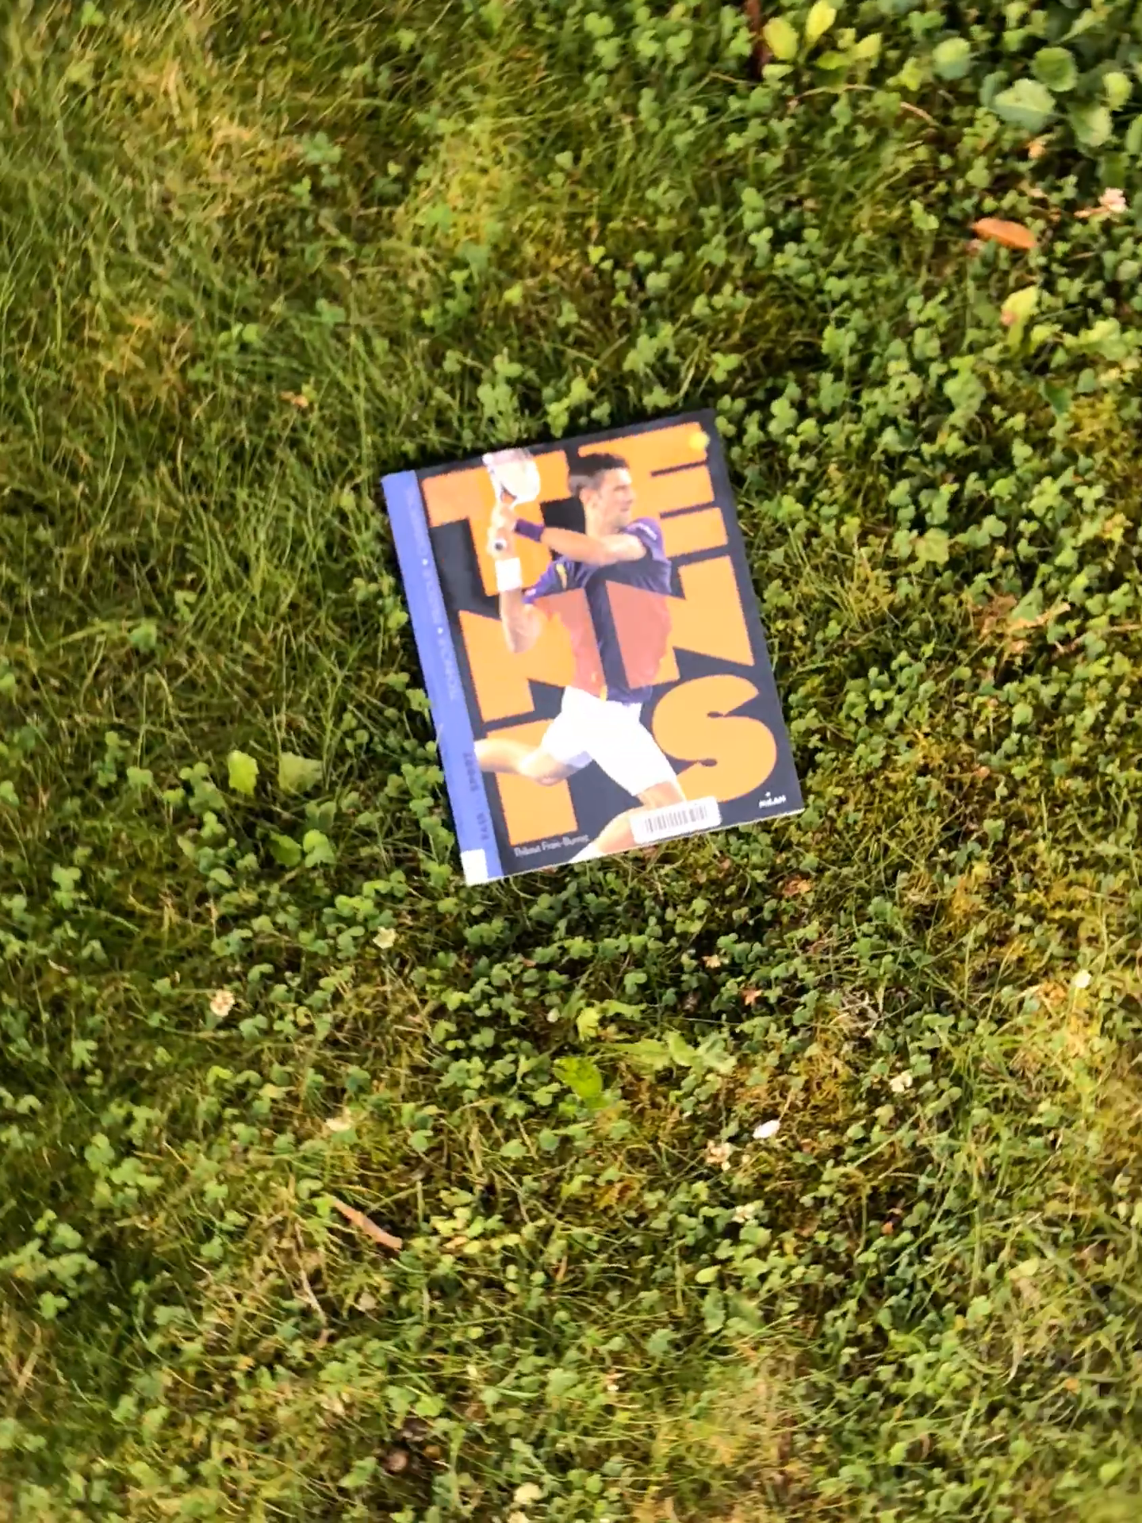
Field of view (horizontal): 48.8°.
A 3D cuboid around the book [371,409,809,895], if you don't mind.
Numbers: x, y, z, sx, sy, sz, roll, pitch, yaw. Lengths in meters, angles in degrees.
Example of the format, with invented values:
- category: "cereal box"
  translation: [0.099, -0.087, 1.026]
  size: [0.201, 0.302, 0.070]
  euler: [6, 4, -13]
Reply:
- category: "book"
  translation: [0.010, -0.064, 0.718]
  size: [0.198, 0.017, 0.240]
  euler: [-13, 86, -5]
